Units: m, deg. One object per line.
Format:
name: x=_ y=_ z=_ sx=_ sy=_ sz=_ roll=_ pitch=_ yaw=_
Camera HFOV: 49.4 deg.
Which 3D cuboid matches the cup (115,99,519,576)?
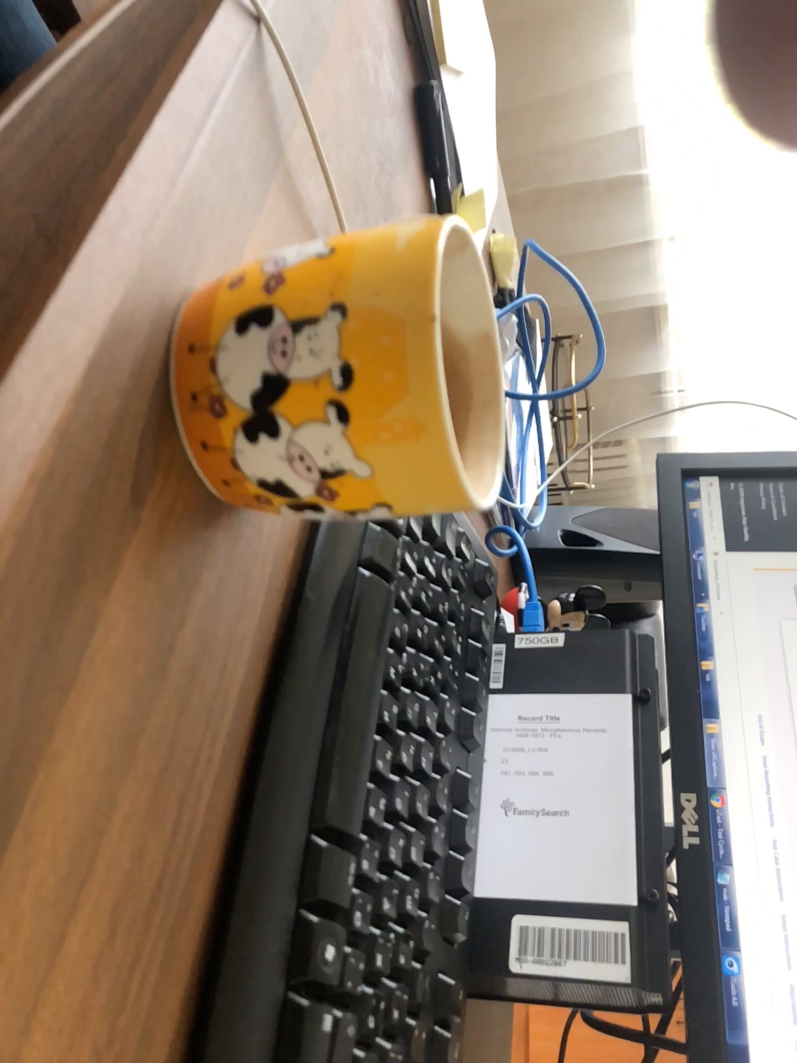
cup: x=-0.016 y=-0.068 z=0.315 sx=0.092 sy=0.095 sz=0.135 roll=64 pitch=28 yaw=-49
